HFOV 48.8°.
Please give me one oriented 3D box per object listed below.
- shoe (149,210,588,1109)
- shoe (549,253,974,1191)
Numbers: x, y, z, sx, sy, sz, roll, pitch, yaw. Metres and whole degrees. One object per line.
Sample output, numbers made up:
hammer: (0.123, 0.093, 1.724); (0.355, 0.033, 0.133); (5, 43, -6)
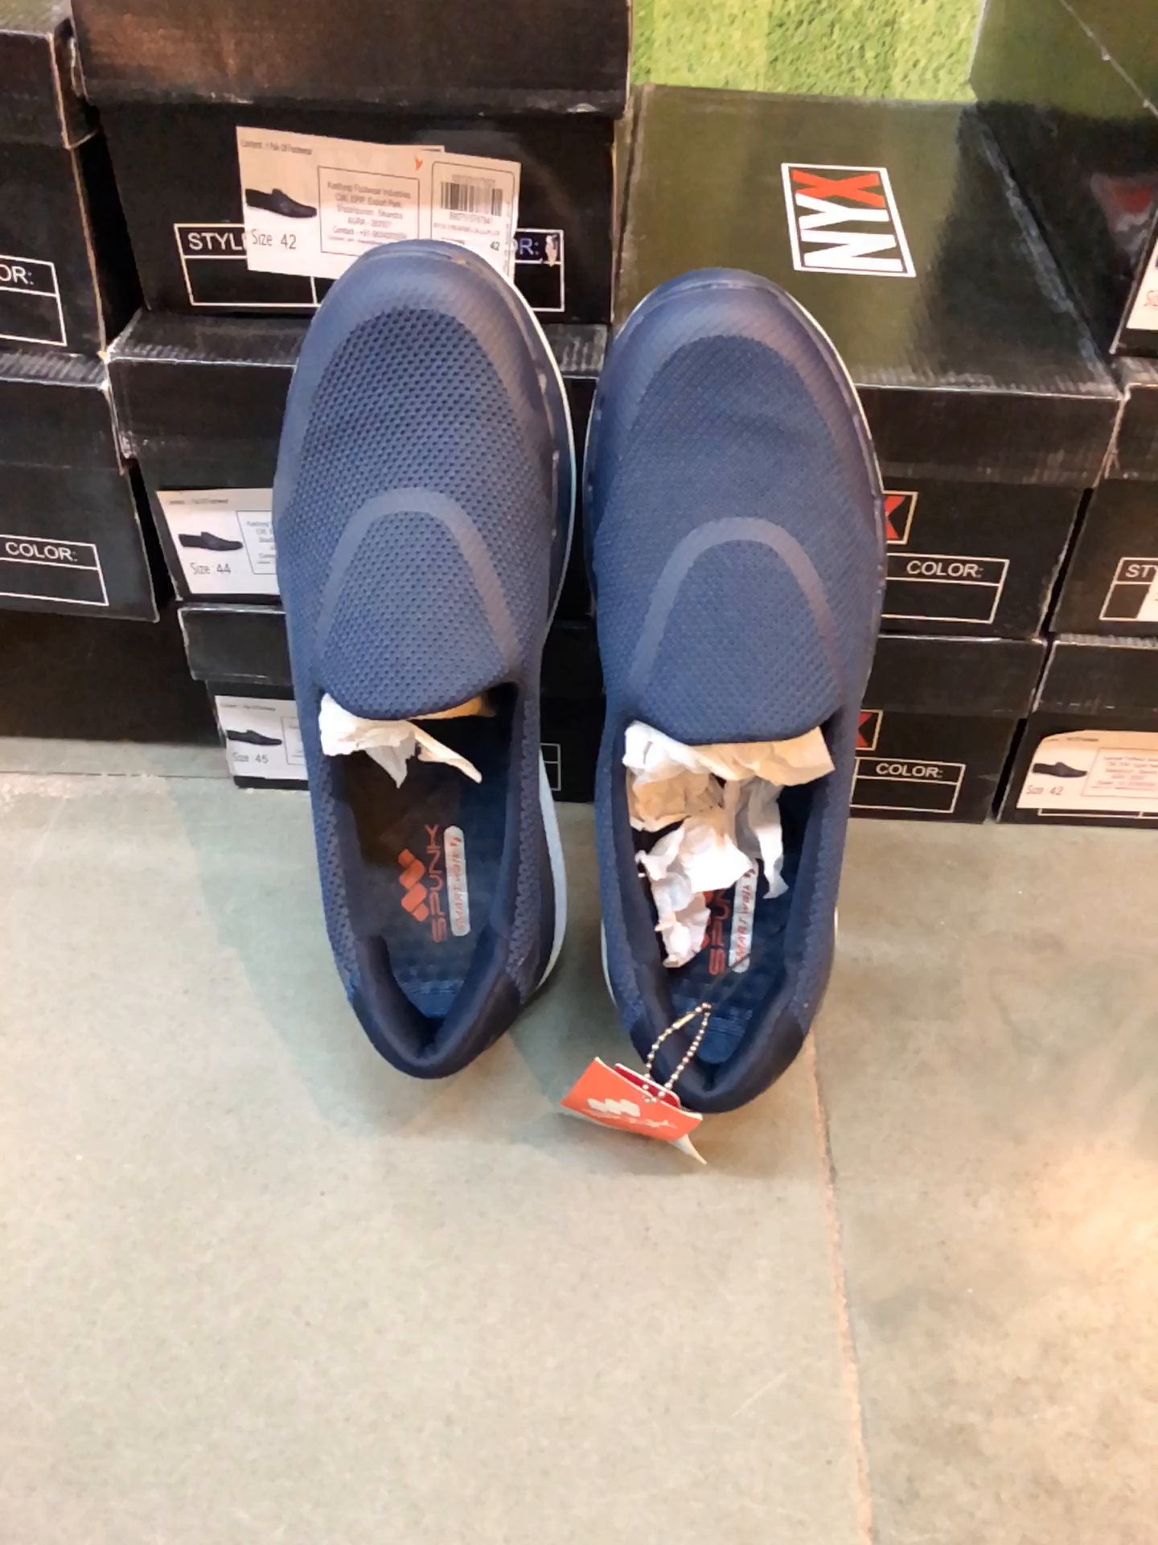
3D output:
shoe: (-0.056, -0.036, 0.433); (0.109, 0.273, 0.110); (0, 18, 3)
shoe: (0.048, -0.015, 0.409); (0.107, 0.273, 0.099); (1, 17, 2)
